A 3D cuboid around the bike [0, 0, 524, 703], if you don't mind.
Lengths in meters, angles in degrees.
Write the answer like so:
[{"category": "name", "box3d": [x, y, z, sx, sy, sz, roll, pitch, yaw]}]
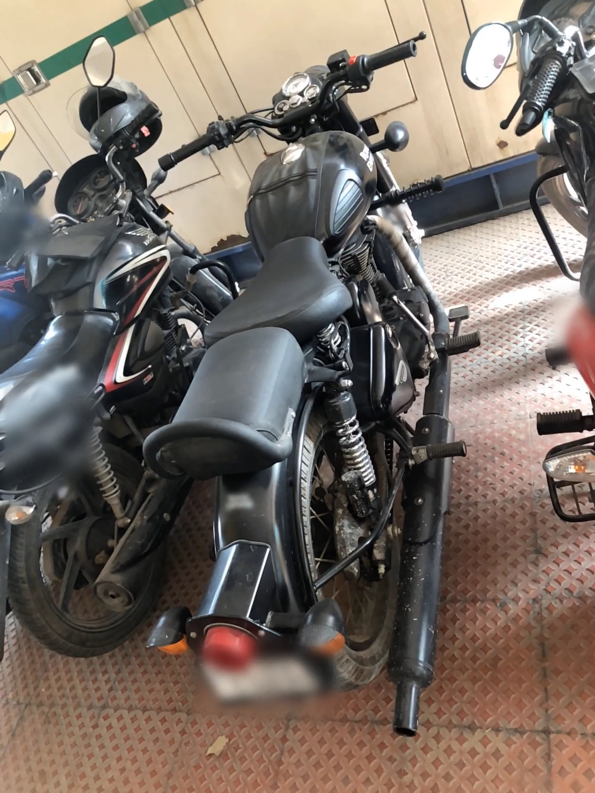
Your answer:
[{"category": "bike", "box3d": [0.055, -0.243, 1.766, 0.709, 0.919, 1.694, -13, 39, 23]}]
